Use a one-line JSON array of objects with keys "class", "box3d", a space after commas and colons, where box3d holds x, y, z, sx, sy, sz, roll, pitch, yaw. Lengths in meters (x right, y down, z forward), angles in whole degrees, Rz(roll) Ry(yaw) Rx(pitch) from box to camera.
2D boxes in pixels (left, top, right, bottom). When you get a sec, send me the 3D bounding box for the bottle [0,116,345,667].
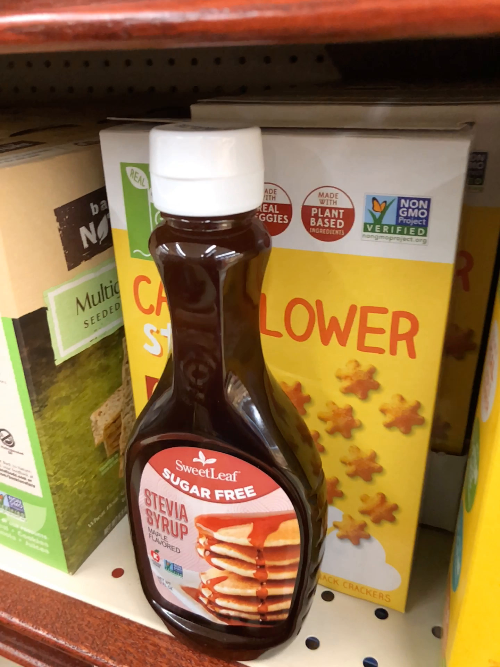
[{"class": "bottle", "box3d": [-0.020, 0.034, 0.209, 0.092, 0.211, 0.051, 7, 28, 16]}]
